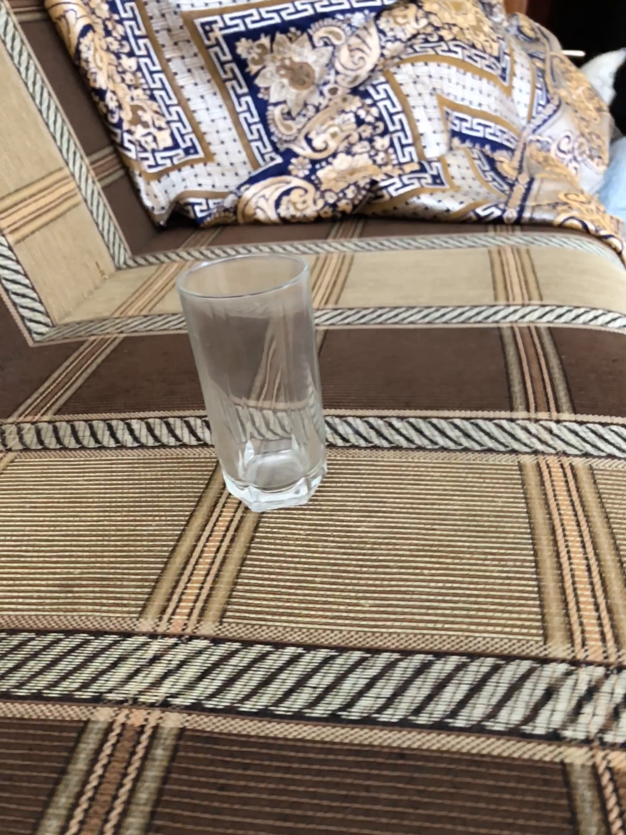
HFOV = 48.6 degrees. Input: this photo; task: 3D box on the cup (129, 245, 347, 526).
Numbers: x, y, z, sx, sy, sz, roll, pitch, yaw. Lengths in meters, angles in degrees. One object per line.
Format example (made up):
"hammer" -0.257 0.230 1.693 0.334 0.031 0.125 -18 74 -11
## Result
"cup" -0.034 -0.021 0.385 0.075 0.130 0.077 -5 29 3
